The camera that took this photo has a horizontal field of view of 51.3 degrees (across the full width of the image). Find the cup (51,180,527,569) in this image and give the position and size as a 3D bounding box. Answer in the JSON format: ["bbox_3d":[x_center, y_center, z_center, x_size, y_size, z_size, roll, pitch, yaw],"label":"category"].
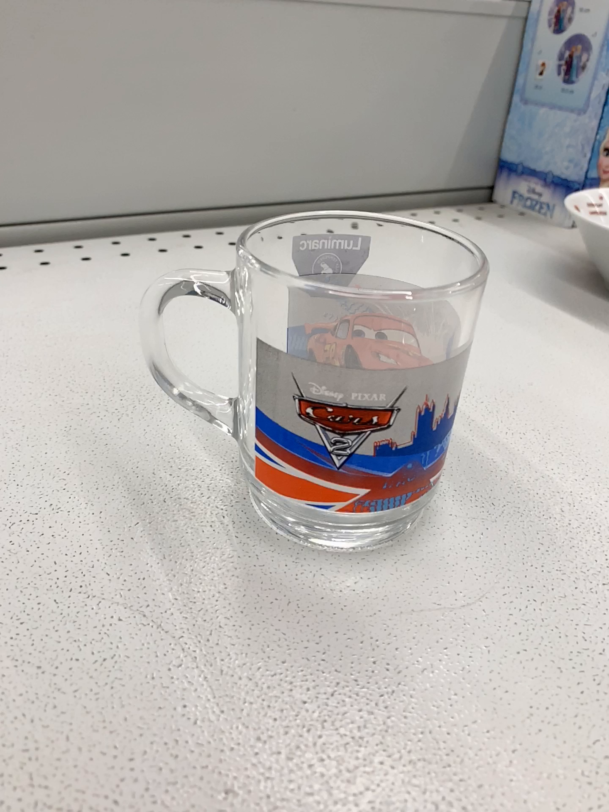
[{"bbox_3d":[-0.004,-0.013,0.196,0.108,0.087,0.071,5,32,2],"label":"cup"}]
